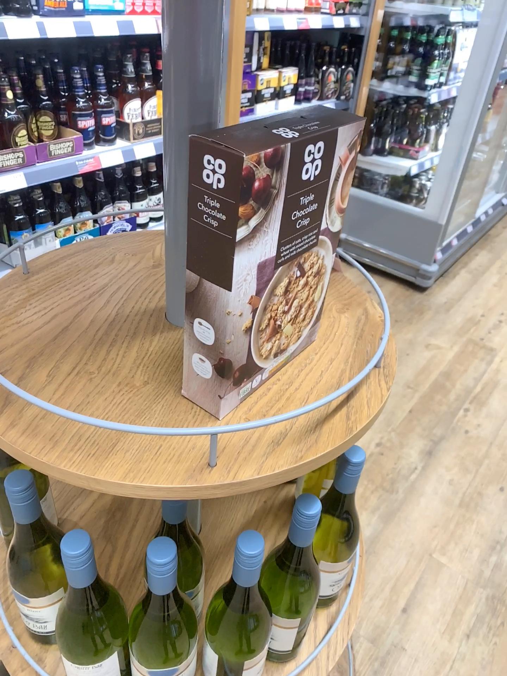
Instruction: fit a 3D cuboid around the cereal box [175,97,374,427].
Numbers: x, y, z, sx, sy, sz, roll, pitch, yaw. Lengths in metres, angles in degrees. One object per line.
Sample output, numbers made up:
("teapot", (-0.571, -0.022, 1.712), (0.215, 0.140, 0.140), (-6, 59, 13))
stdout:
("cereal box", (0.016, -0.071, 0.472), (0.050, 0.248, 0.191), (28, 40, 26))
